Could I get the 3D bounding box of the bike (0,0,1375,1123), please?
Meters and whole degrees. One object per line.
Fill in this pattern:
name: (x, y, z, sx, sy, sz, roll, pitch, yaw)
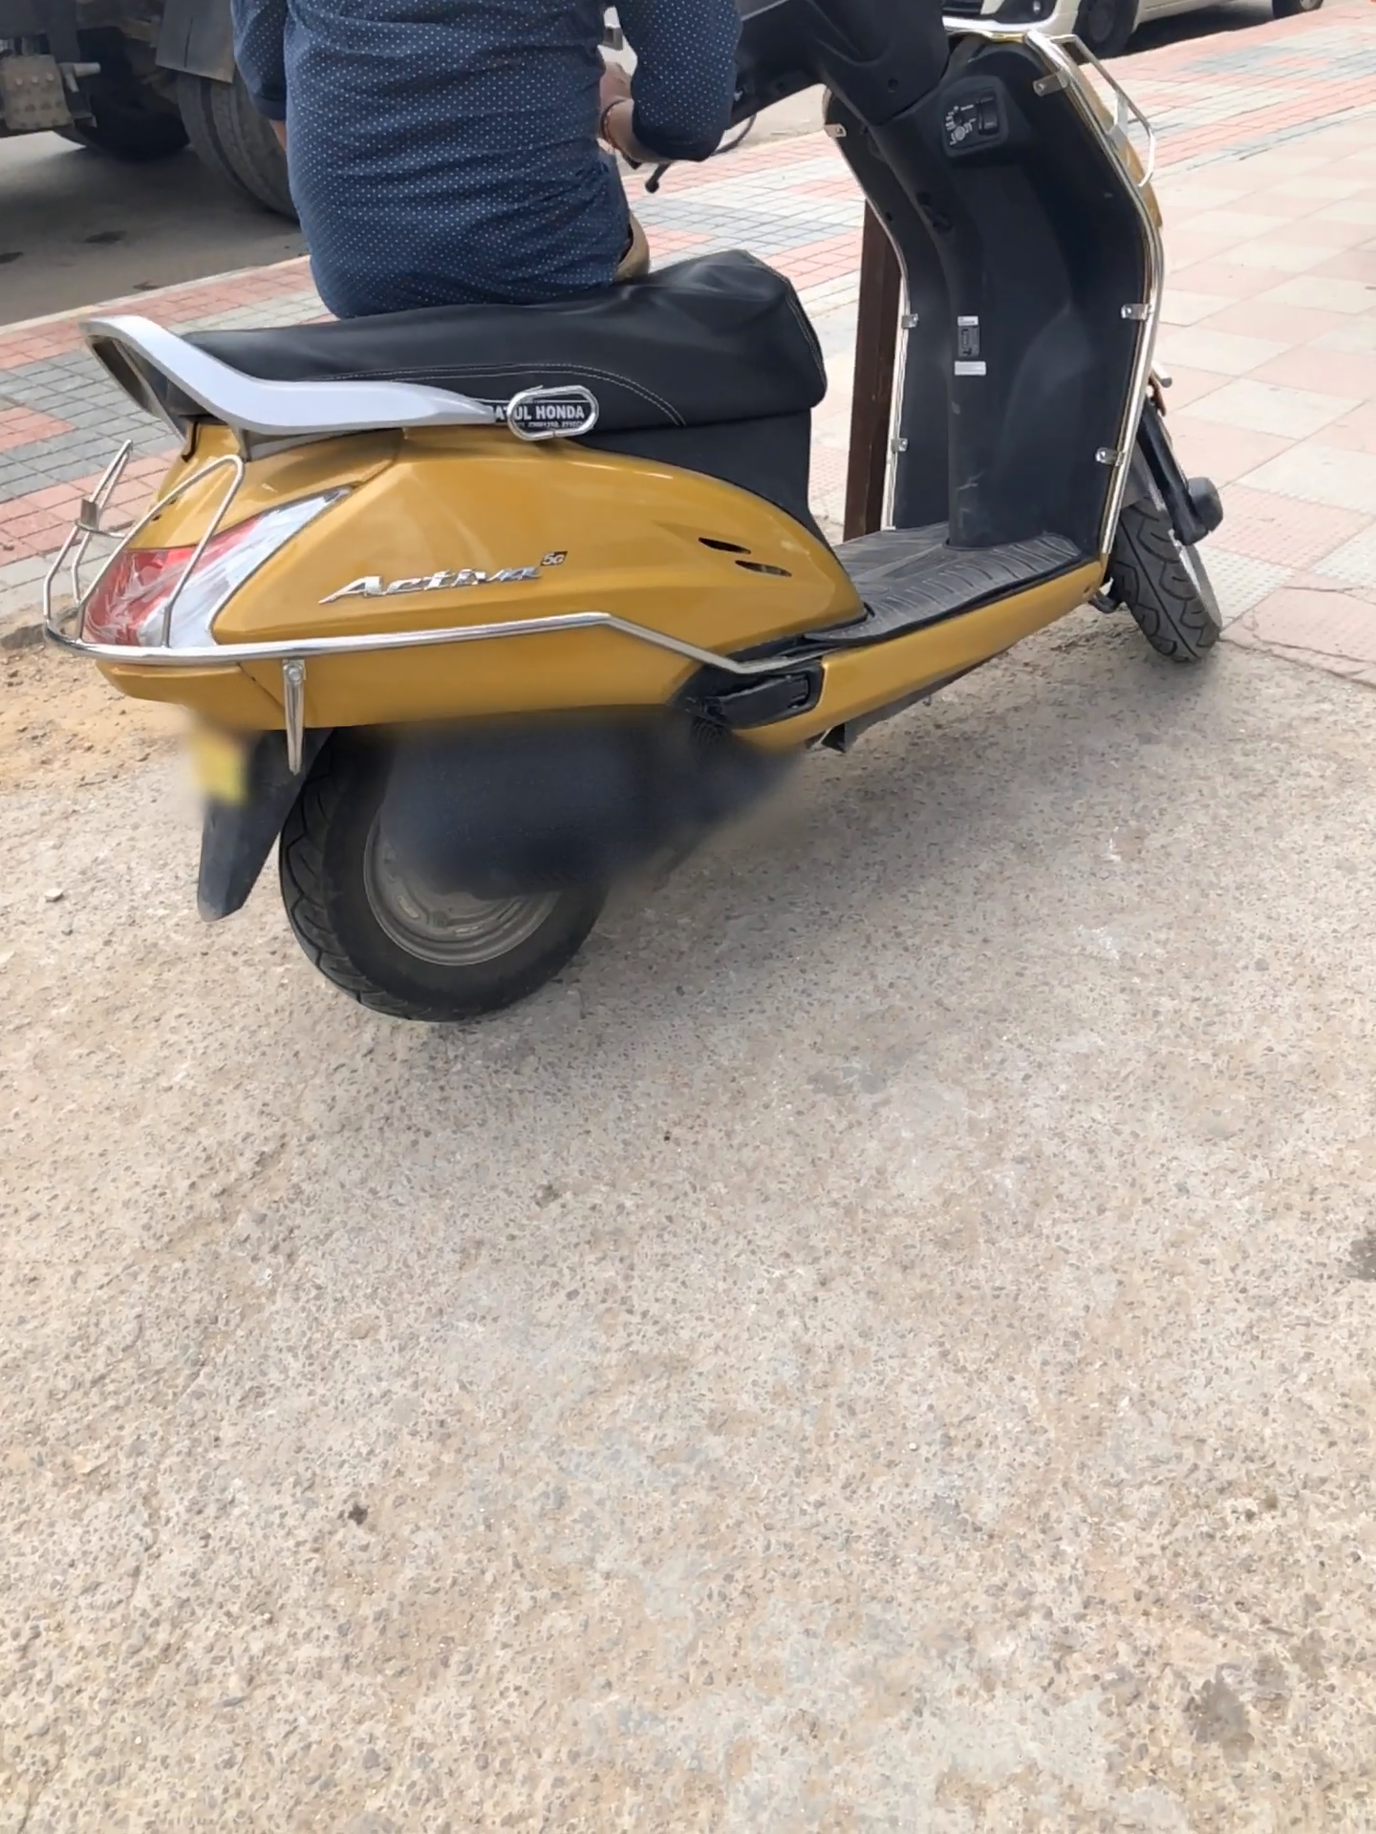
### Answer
bike: (0.047, -0.745, 1.877, 1.533, 1.153, 0.585, -32, 47, -30)
